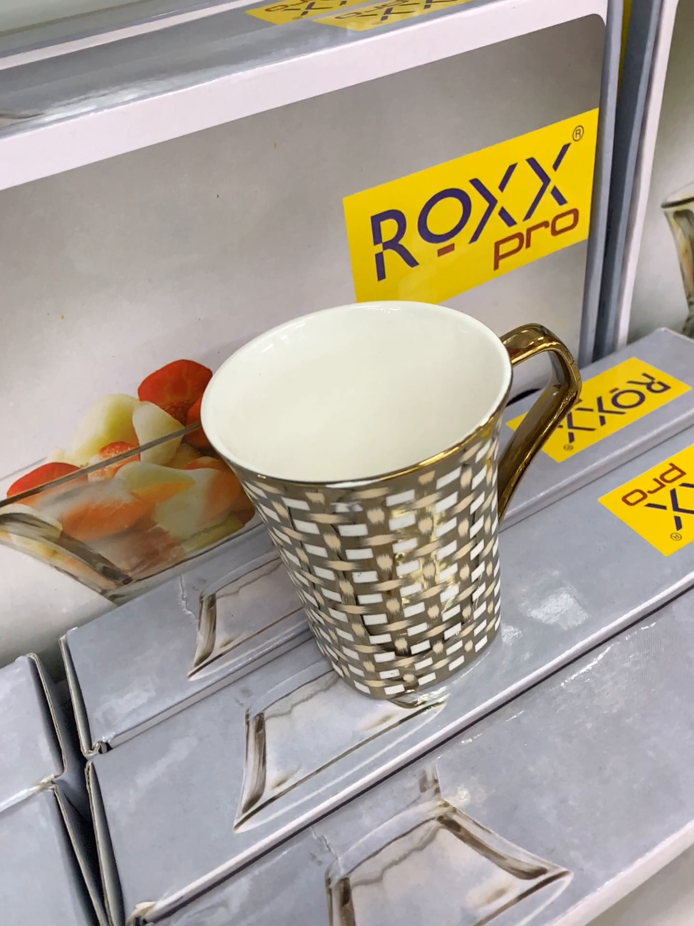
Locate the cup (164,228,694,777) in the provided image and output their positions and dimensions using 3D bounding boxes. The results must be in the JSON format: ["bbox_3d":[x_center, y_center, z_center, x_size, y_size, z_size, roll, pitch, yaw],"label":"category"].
[{"bbox_3d":[0.025,0.004,0.207,0.110,0.089,0.081,-27,43,-20],"label":"cup"}]
